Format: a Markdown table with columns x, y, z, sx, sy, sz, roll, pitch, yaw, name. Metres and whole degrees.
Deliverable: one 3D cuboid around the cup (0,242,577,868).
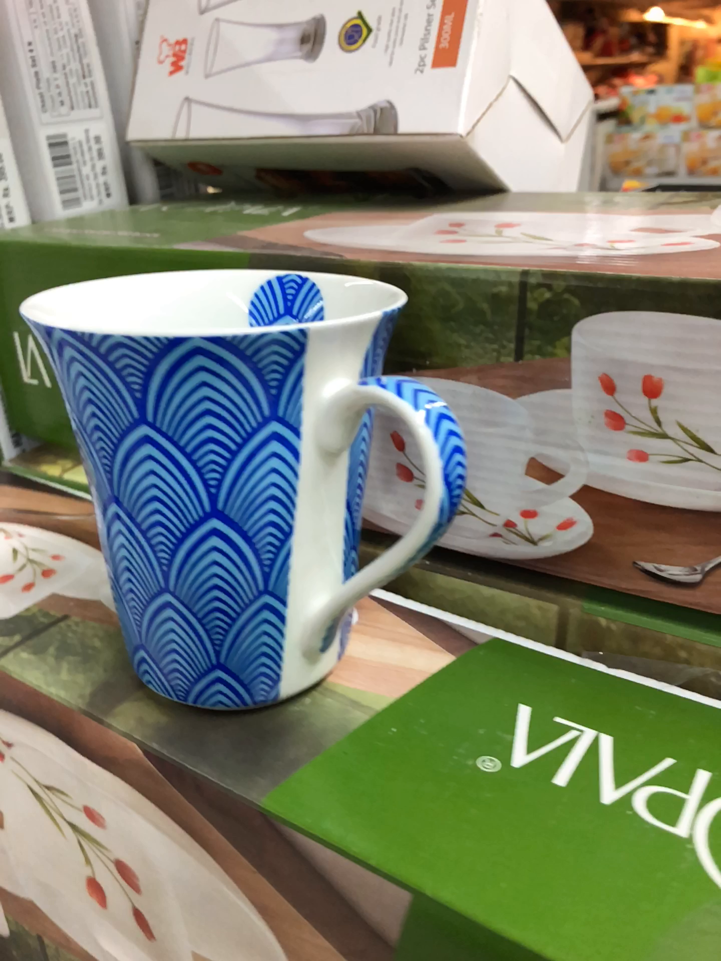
| x | y | z | sx | sy | sz | roll | pitch | yaw | name |
| --- | --- | --- | --- | --- | --- | --- | --- | --- | --- |
| -0.019 | 0.003 | 0.195 | 0.110 | 0.099 | 0.080 | 15 | 31 | 34 | cup |
